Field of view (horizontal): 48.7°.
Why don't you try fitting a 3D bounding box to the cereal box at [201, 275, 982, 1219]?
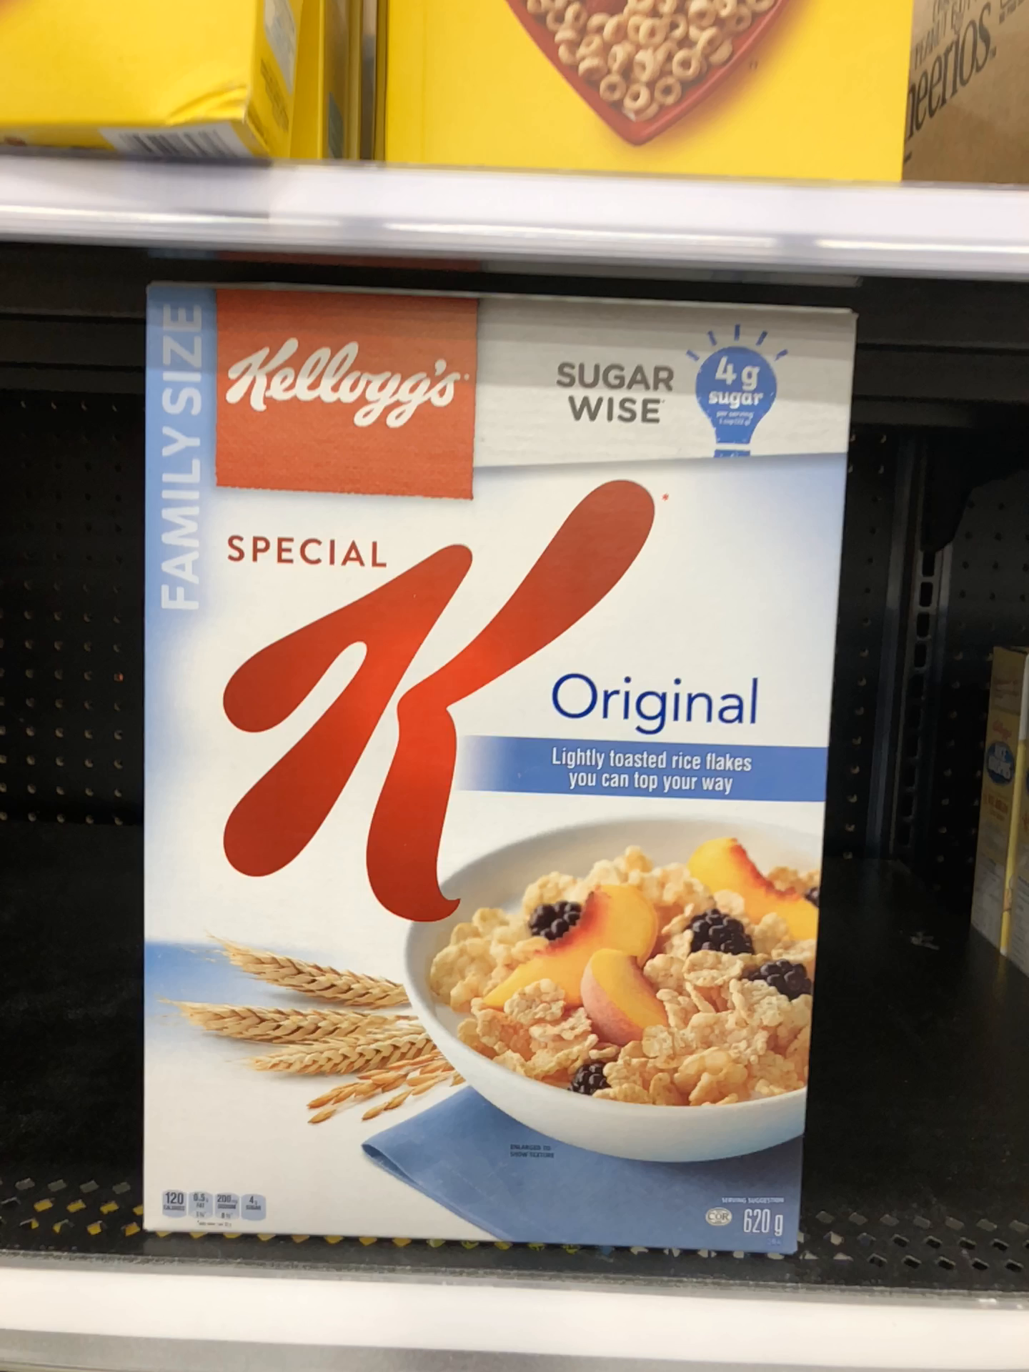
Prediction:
[{"bbox_3d":[0.020,0.026,0.440,0.260,0.329,0.080,2,8,-2],"label":"cereal box"}]
